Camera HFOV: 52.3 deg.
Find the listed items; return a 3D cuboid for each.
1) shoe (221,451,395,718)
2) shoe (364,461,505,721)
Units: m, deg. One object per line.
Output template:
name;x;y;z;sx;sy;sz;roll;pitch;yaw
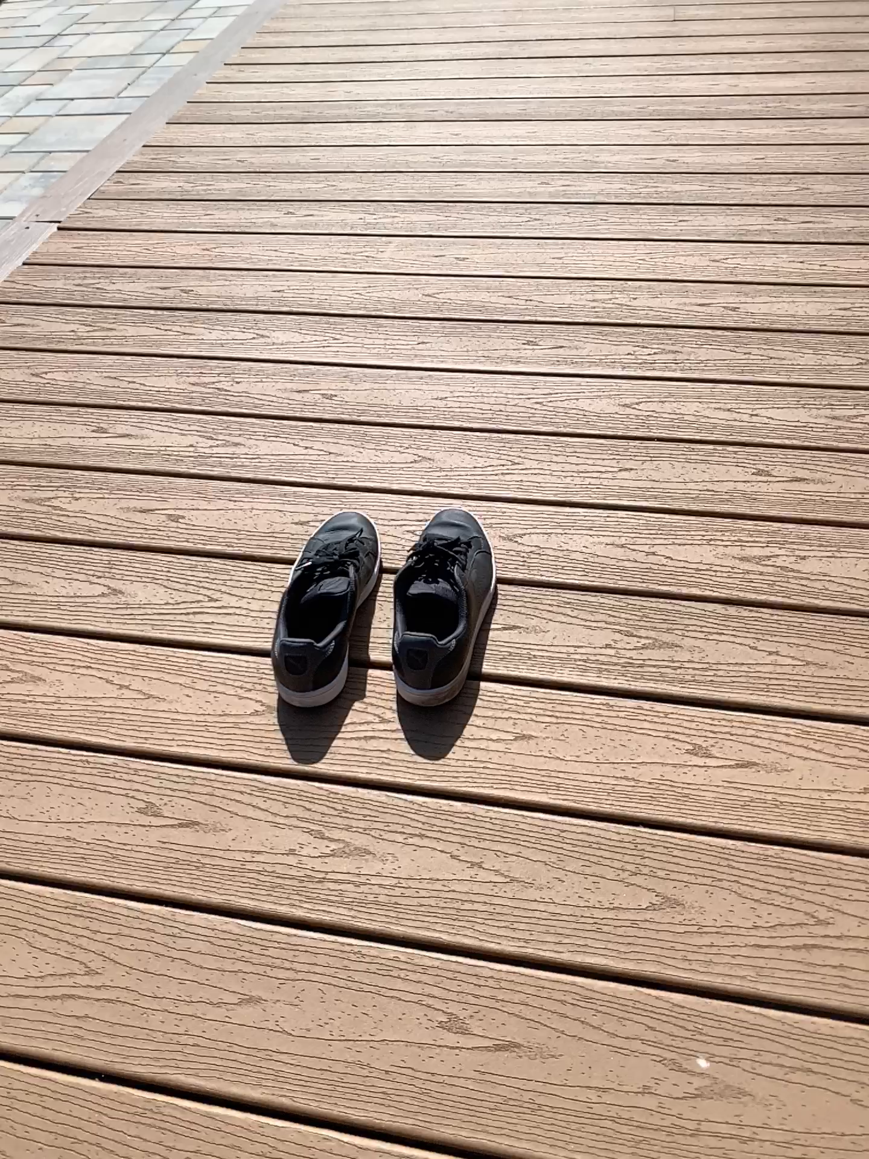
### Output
shoe;-0.128;-0.005;0.987;0.112;0.107;0.301;2;47;8
shoe;0.010;0.003;0.957;0.110;0.104;0.281;2;47;8
